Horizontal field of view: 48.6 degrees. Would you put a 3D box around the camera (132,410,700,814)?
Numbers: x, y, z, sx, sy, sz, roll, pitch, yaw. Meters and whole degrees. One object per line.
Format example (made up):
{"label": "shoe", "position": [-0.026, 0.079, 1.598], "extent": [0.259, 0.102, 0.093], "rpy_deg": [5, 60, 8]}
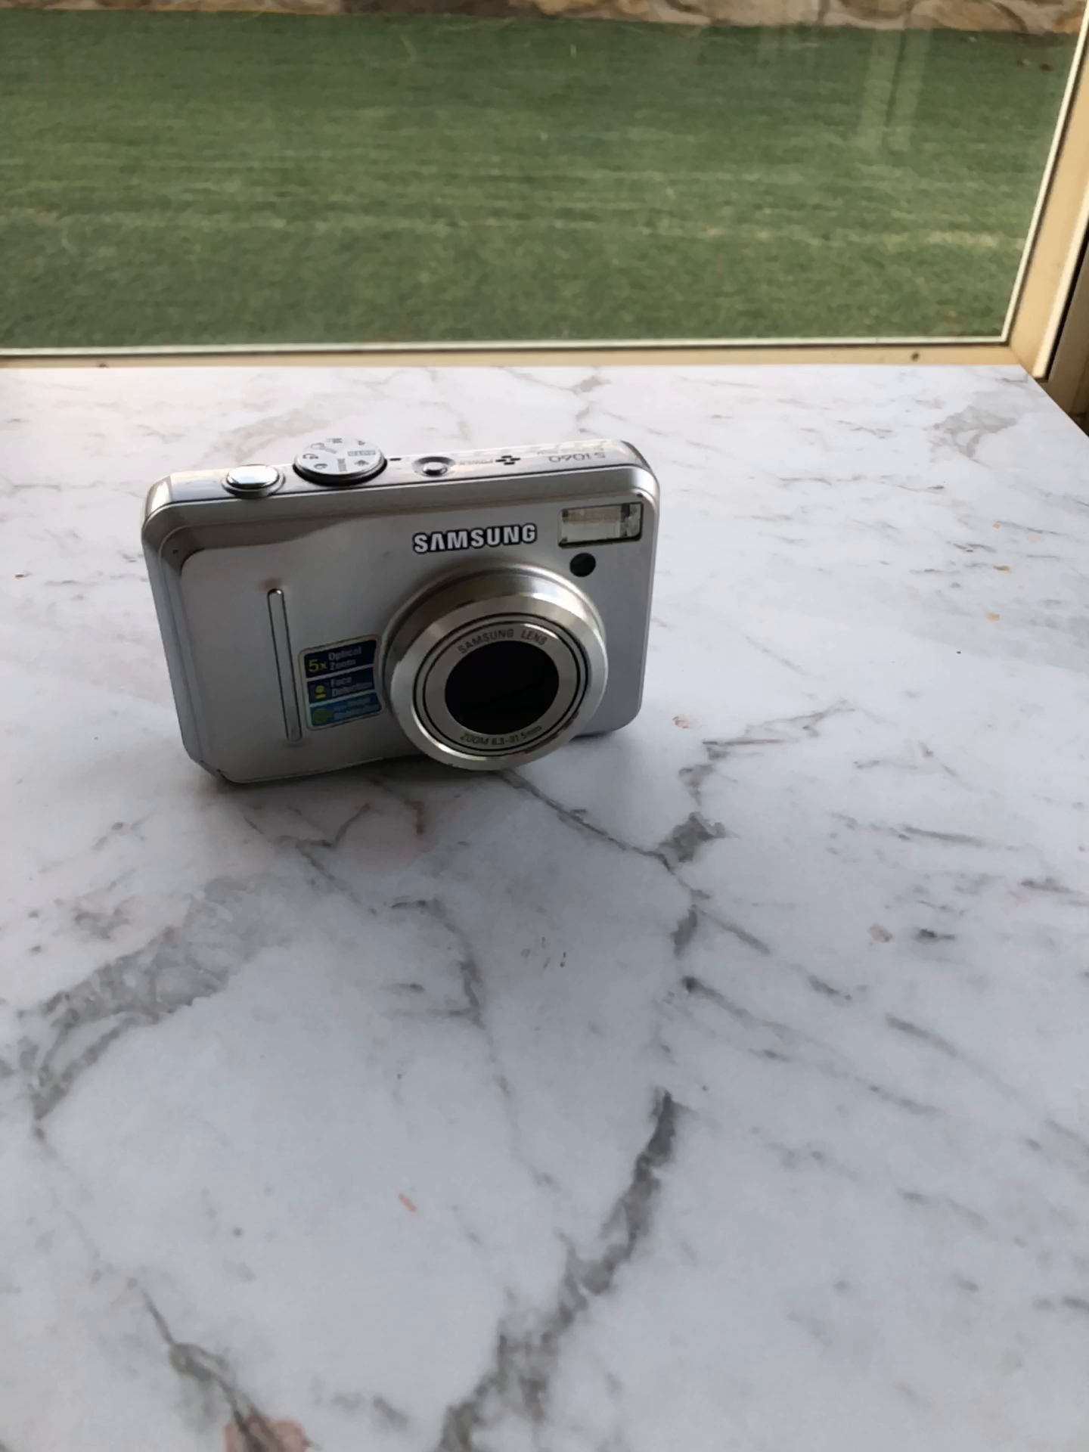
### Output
{"label": "camera", "position": [-0.024, -0.023, 0.241], "extent": [0.099, 0.061, 0.034], "rpy_deg": [-7, 39, -11]}
